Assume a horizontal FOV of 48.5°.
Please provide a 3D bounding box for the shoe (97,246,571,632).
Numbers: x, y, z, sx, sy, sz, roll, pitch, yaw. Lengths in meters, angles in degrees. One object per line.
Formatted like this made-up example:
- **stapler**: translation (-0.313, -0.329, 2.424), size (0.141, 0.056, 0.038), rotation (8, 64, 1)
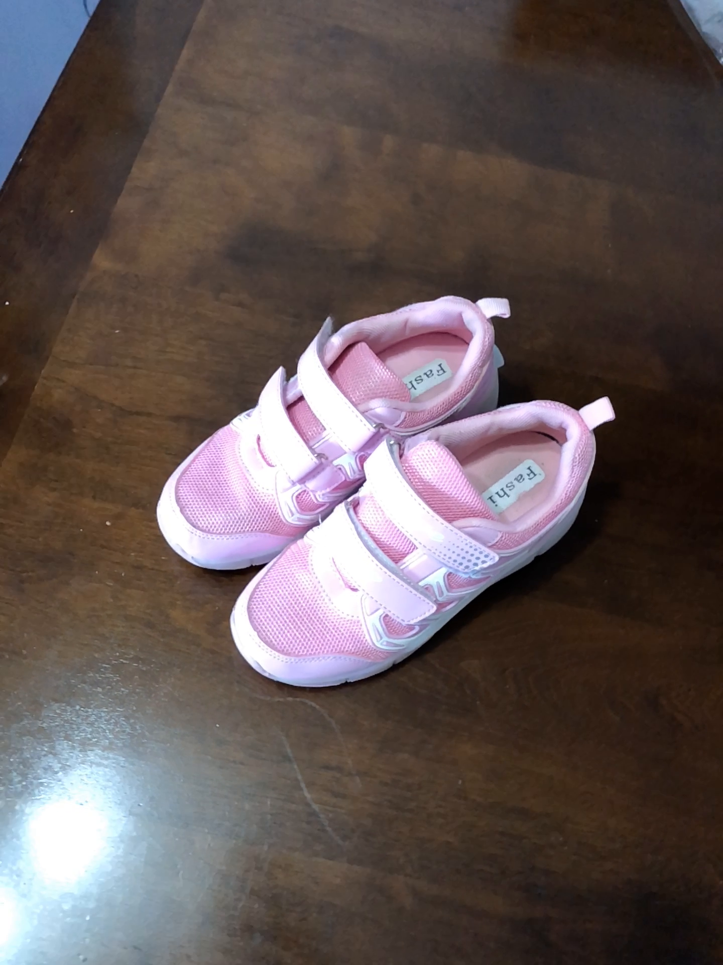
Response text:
- **shoe**: translation (-0.014, -0.028, 0.497), size (0.250, 0.110, 0.100), rotation (-29, 71, -17)

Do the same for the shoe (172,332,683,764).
- **shoe**: translation (0.038, 0.037, 0.477), size (0.260, 0.110, 0.110), rotation (-30, 71, -18)
